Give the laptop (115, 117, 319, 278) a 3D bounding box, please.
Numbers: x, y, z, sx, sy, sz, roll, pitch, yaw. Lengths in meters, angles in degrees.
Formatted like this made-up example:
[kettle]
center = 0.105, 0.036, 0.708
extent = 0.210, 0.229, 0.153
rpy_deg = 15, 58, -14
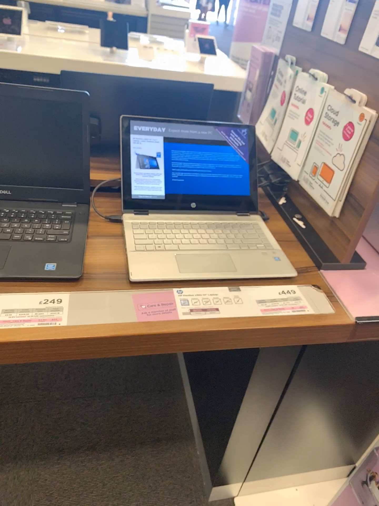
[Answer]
[laptop]
center = 0.018, -0.130, 0.804
extent = 0.313, 0.154, 0.363
rpy_deg = -1, 37, -14
